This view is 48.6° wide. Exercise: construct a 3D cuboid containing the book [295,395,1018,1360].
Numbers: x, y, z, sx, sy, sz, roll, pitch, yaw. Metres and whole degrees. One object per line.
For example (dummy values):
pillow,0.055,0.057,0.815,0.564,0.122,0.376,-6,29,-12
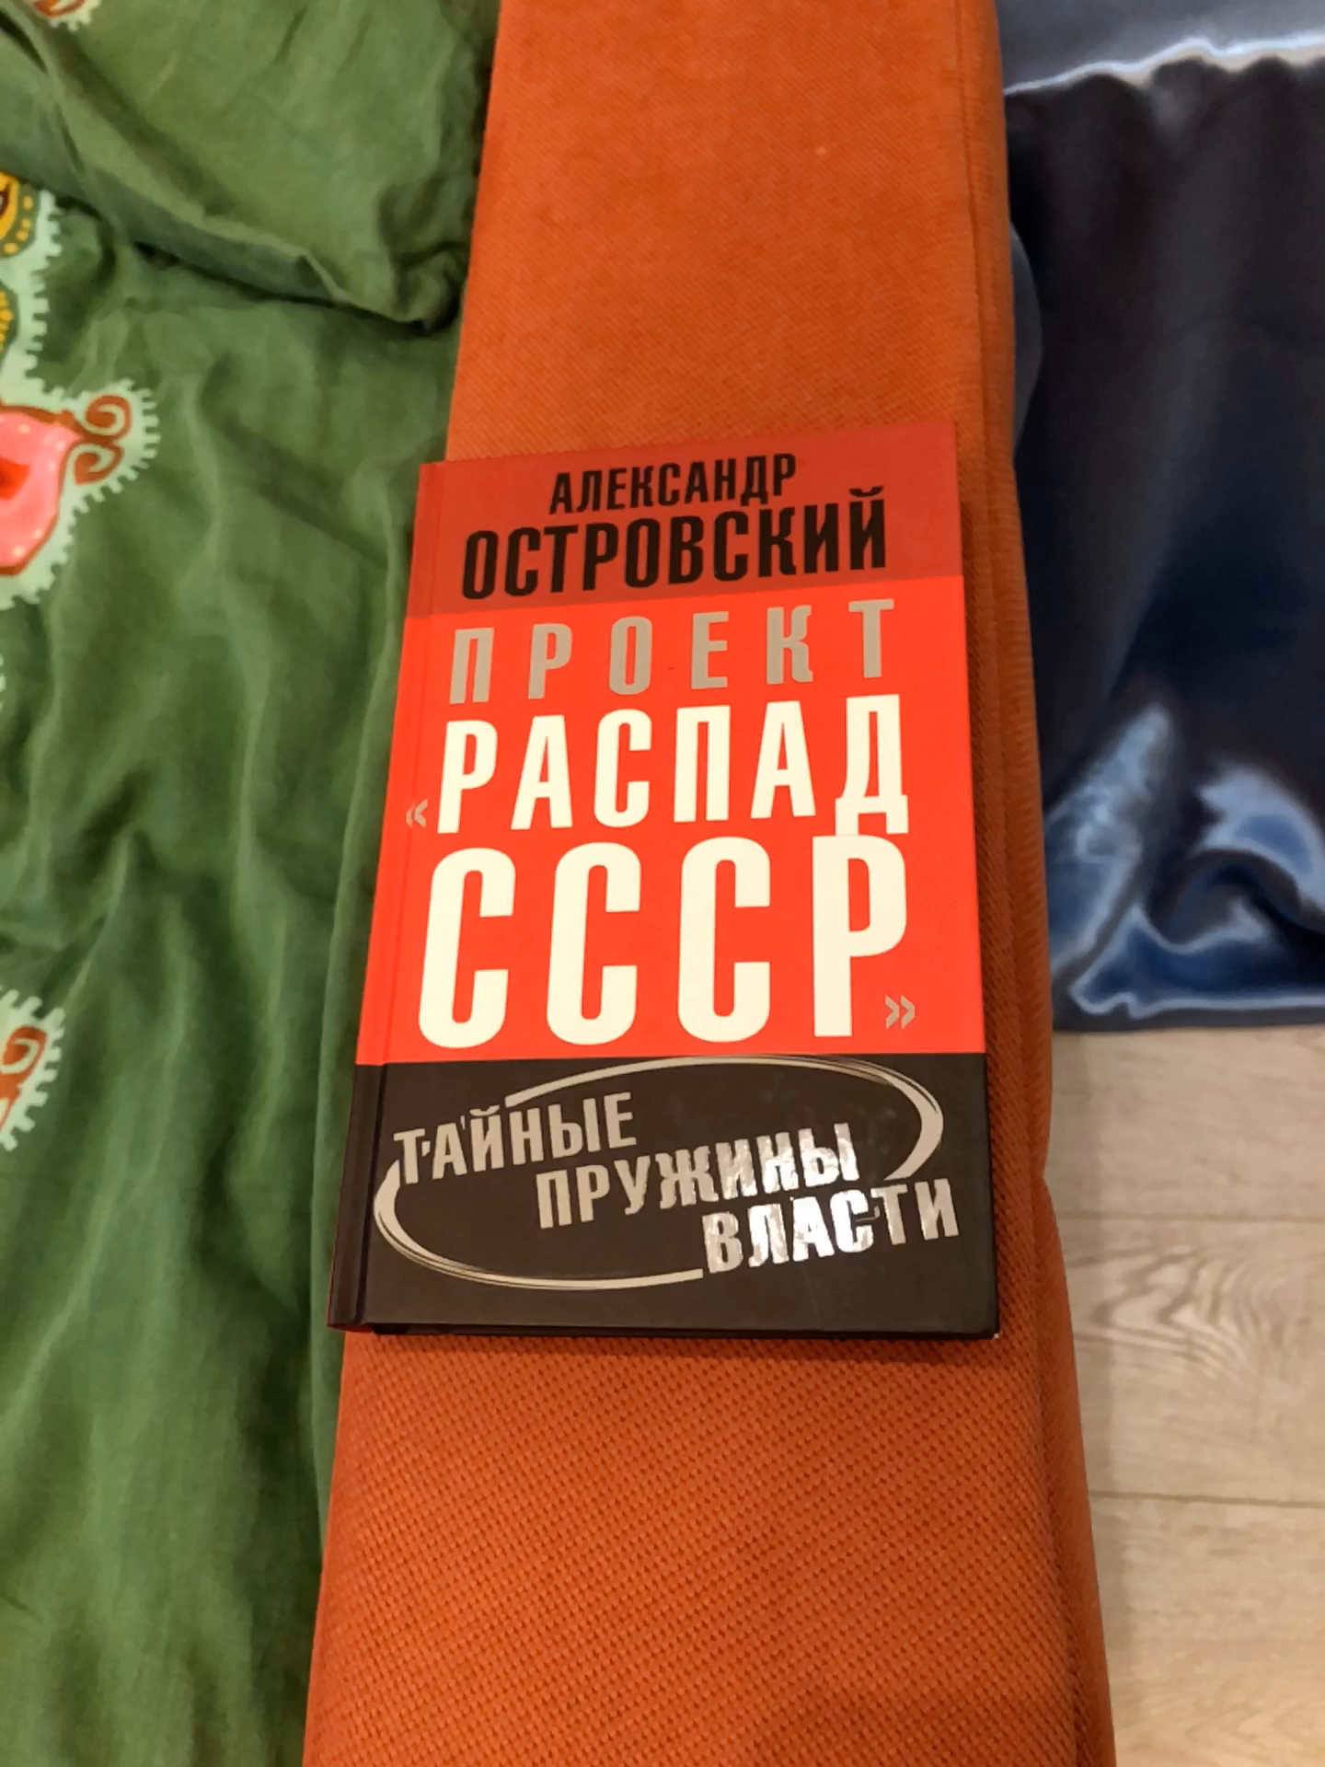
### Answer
book,0.002,-0.007,0.321,0.135,0.030,0.207,-2,69,10
